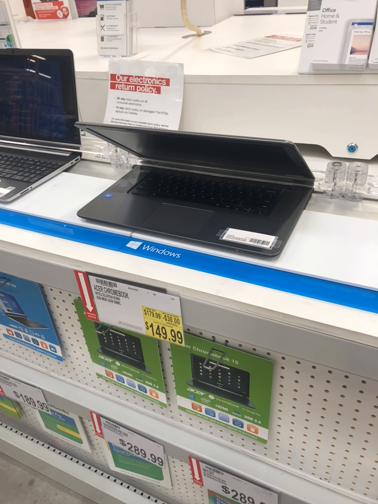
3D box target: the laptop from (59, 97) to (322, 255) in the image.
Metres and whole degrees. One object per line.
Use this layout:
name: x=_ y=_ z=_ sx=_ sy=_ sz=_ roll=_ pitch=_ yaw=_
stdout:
laptop: x=0.006 y=-0.151 z=0.703 sx=0.365 sy=0.136 sz=0.220 roll=13 pitch=41 yaw=26
